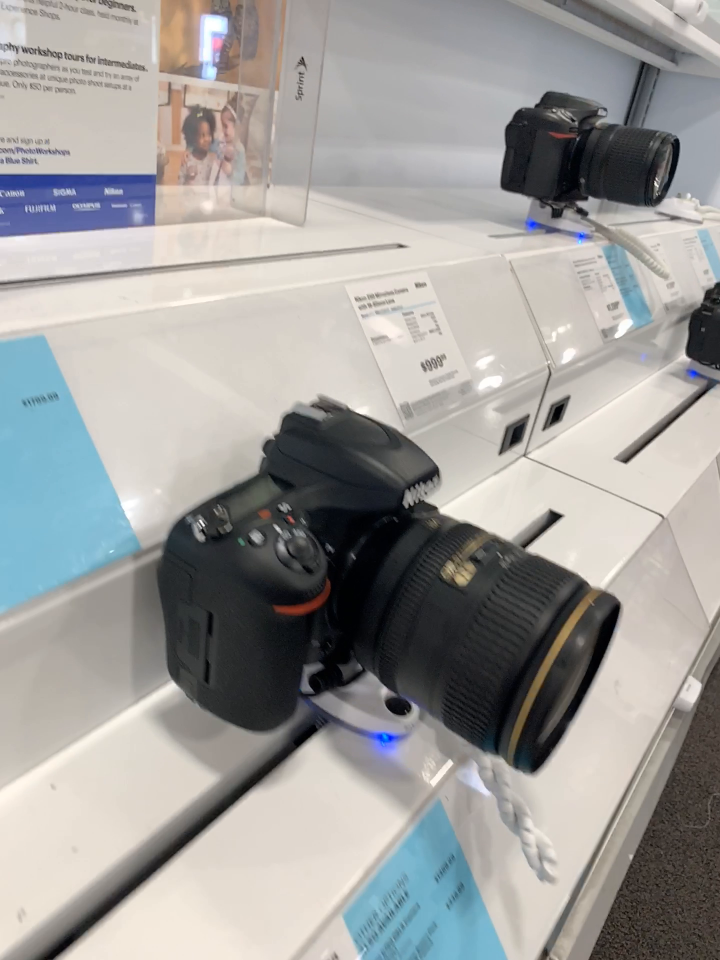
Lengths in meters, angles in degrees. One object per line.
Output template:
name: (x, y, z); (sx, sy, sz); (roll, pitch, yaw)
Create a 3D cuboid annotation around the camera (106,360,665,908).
camera: (0.008, 0.042, 0.322); (0.180, 0.111, 0.141); (24, 31, 24)
